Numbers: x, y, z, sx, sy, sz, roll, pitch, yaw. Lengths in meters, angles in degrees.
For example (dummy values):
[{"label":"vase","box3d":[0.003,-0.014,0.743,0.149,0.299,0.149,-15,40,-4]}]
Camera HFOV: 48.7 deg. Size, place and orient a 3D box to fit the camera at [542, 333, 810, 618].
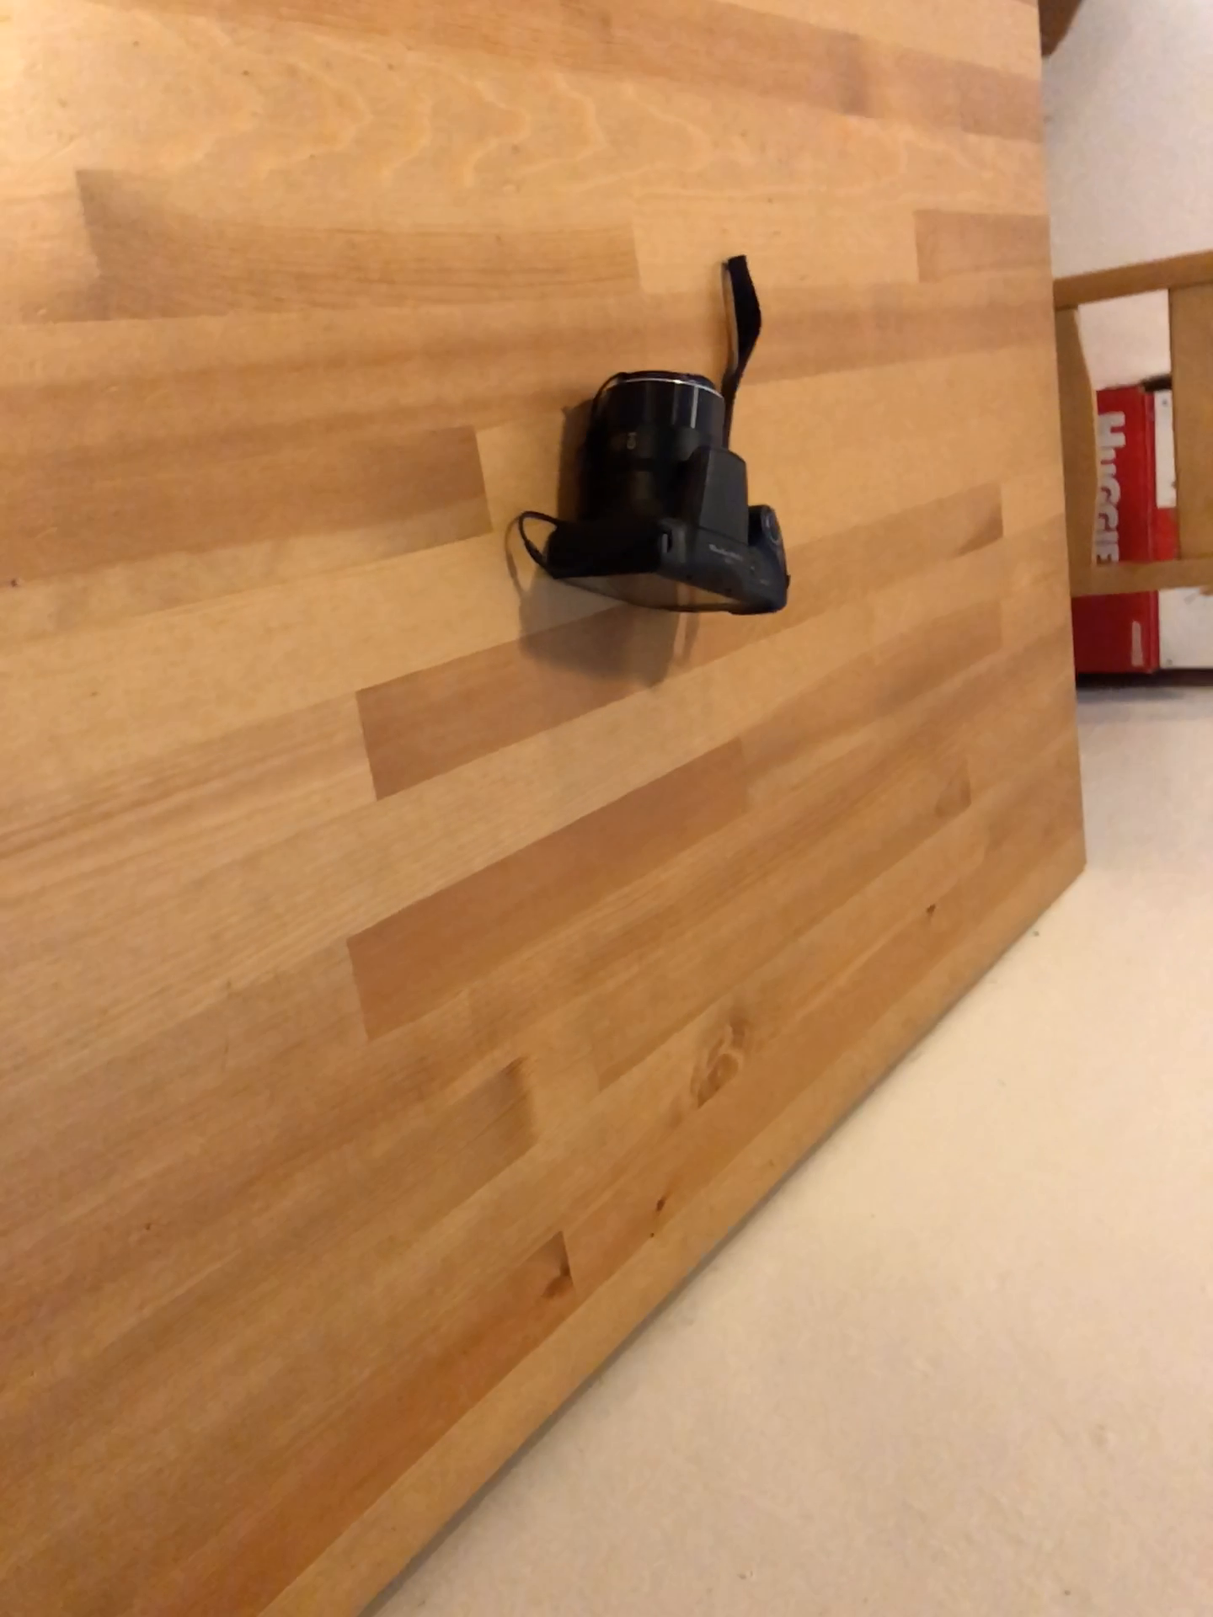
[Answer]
[{"label":"camera","box3d":[0.033,-0.142,0.597,0.110,0.062,0.096,3,90,-52]}]
